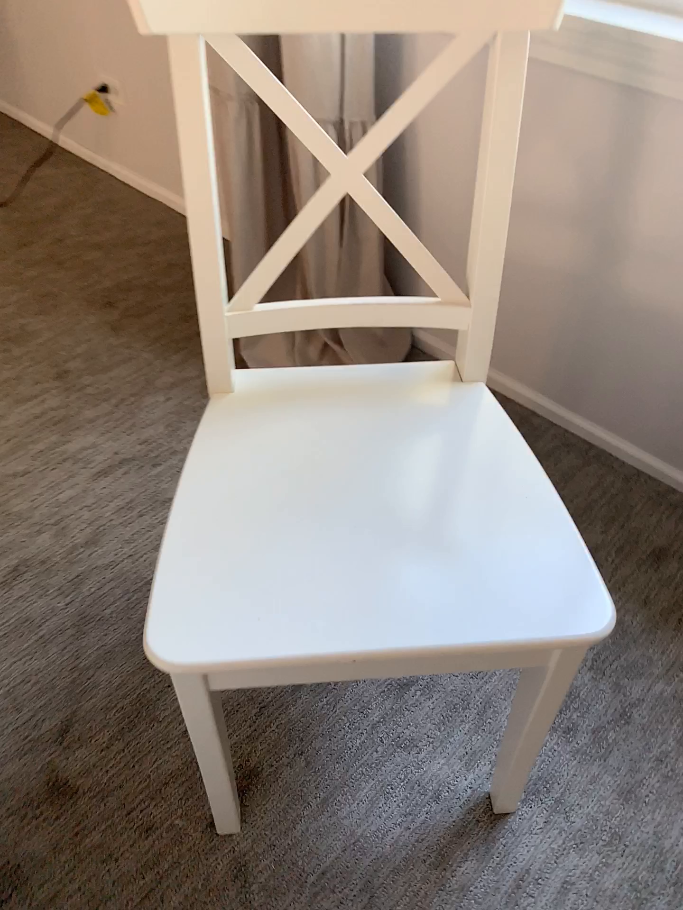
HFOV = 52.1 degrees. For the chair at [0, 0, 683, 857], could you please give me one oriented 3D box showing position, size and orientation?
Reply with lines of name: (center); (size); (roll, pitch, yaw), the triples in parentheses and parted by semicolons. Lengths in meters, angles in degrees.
chair: (0.017, -0.027, 0.687); (0.570, 0.857, 0.482); (-2, 44, -2)
